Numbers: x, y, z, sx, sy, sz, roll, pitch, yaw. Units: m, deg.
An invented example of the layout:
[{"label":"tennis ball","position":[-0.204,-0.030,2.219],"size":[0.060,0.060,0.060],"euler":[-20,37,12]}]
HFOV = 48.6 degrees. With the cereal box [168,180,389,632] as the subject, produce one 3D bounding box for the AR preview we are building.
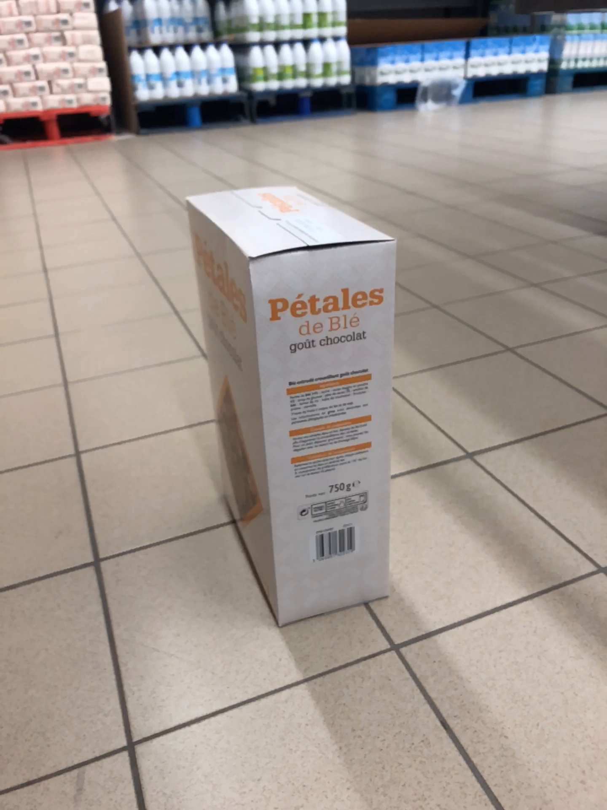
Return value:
[{"label":"cereal box","position":[-0.021,-0.009,0.532],"size":[0.100,0.288,0.191],"euler":[-12,29,-16]}]
